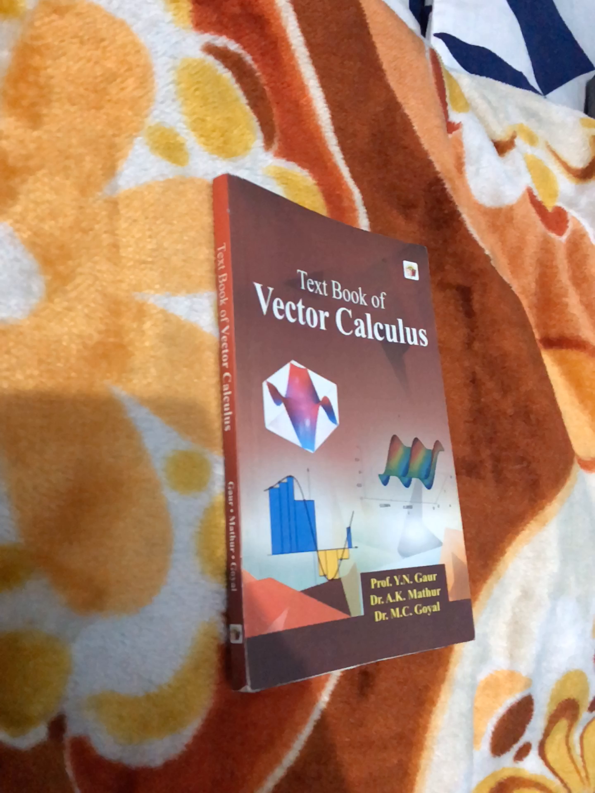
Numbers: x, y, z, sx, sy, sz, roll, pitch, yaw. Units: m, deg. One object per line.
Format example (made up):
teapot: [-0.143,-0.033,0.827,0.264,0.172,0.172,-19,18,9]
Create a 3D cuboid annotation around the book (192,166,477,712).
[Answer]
book: [0.021,0.015,0.305,0.141,0.020,0.210,6,75,-41]
